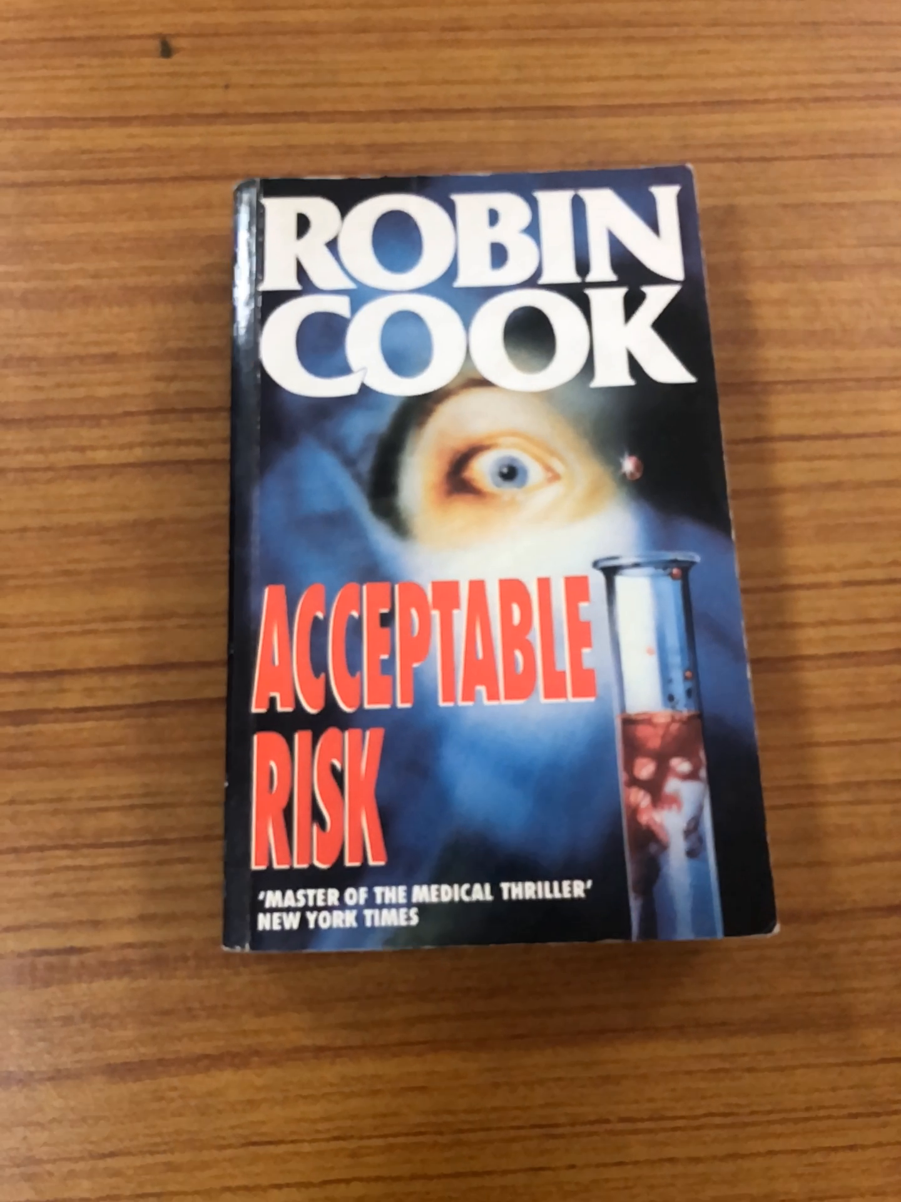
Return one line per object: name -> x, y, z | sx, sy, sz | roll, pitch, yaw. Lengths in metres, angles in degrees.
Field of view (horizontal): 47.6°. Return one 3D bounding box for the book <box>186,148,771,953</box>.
book -> 0.002, -0.014, 0.231 | 0.110, 0.040, 0.170 | -2, 77, -2
